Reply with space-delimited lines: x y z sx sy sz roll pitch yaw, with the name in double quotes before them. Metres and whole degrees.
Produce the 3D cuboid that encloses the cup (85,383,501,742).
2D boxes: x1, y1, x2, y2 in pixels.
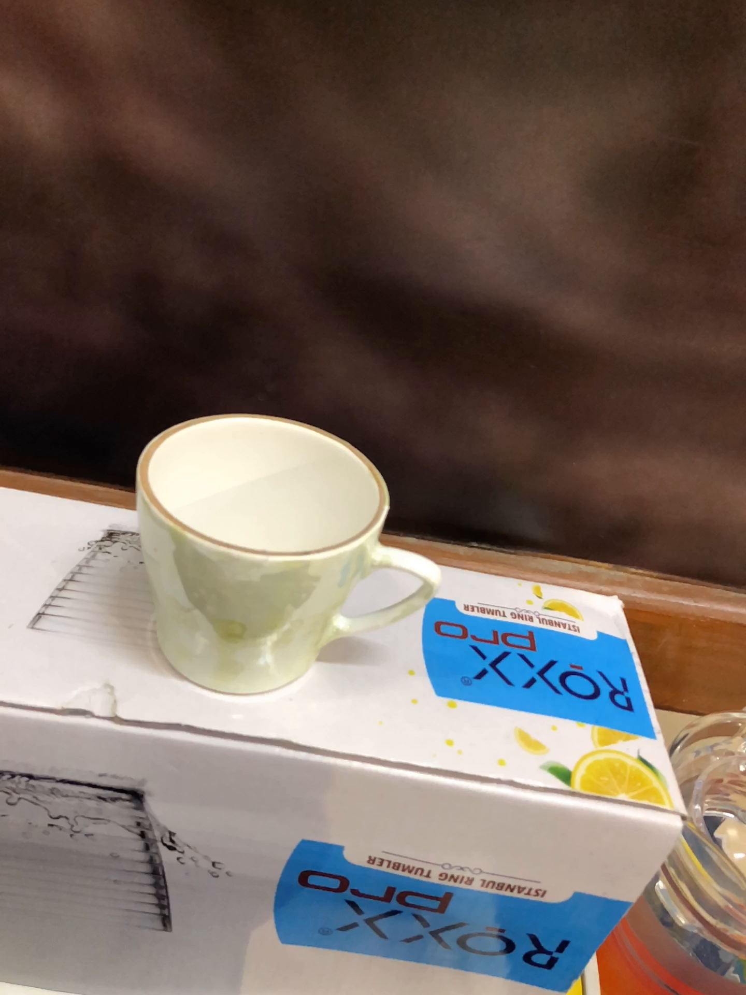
"cup" -0.024 0.018 0.243 0.100 0.060 0.070 9 36 -8
